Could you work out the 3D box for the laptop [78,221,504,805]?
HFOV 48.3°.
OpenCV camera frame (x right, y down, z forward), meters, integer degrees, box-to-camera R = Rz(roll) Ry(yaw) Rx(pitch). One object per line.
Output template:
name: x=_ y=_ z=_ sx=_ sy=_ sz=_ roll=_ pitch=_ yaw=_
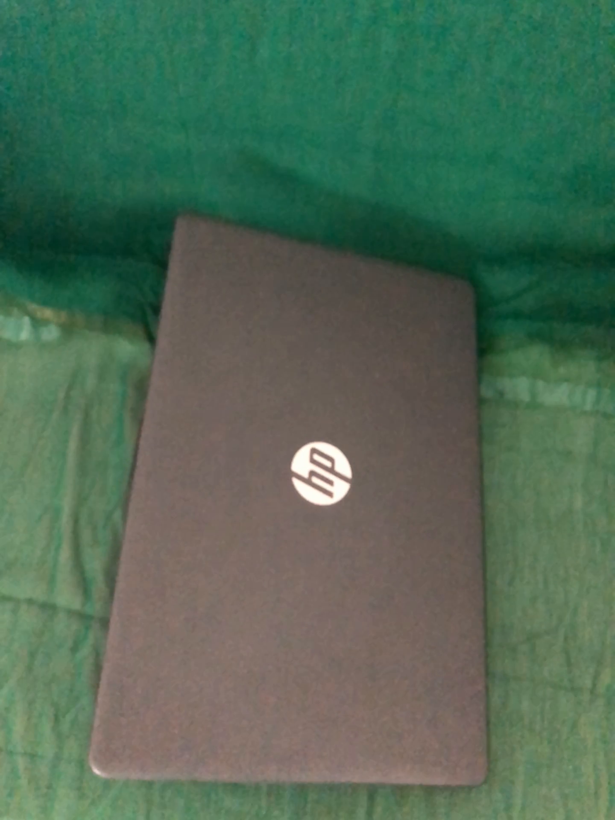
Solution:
laptop: x=0.003 y=0.049 z=0.470 sx=0.231 sy=0.067 sz=0.360 roll=5 pitch=67 yaw=-1
